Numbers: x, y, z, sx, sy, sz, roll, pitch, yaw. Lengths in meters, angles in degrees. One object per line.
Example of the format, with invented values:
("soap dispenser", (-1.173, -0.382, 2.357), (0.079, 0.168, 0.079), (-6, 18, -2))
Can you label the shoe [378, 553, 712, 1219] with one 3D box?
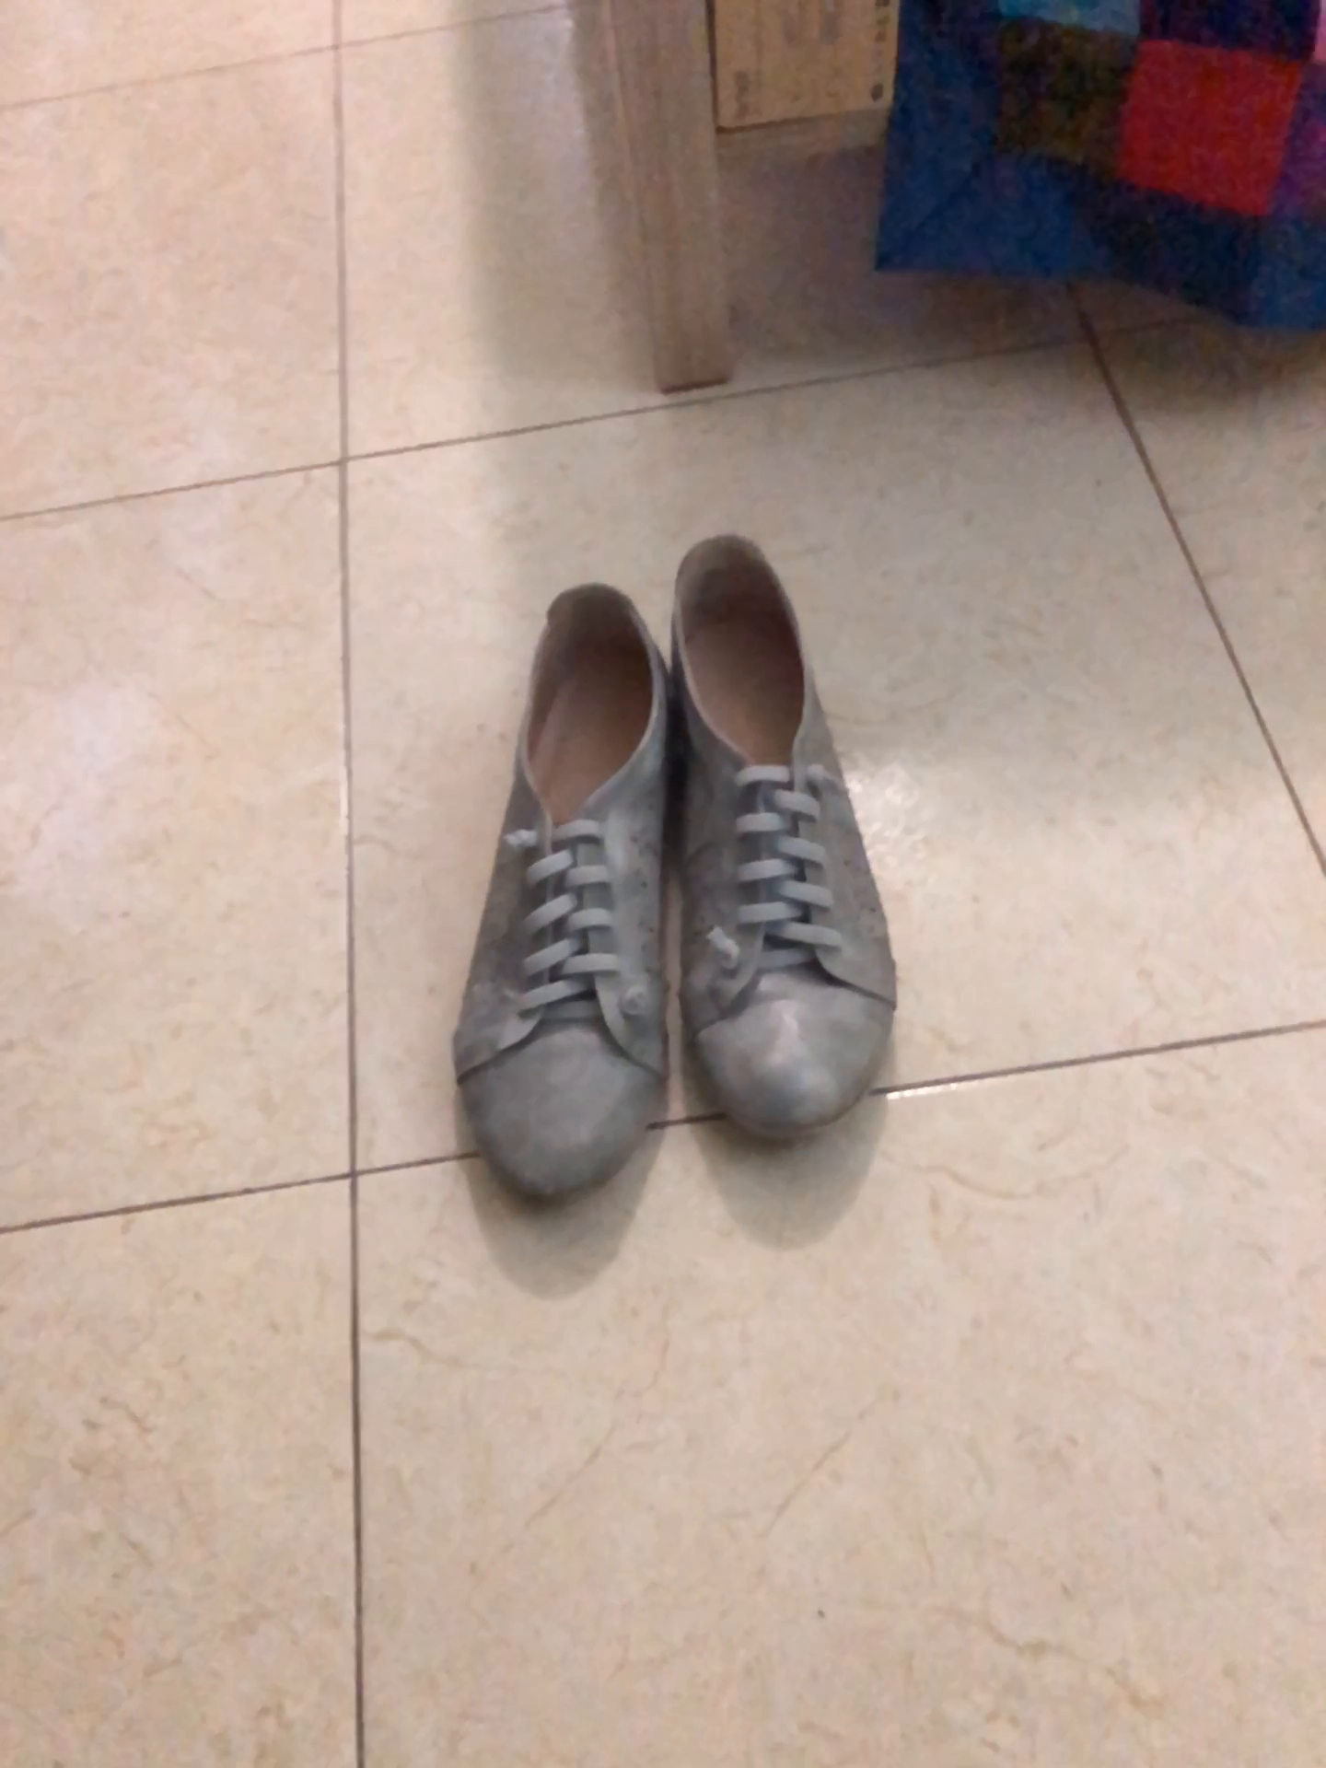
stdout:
("shoe", (-0.041, -0.008, 0.666), (0.100, 0.100, 0.291), (1, 58, 8))

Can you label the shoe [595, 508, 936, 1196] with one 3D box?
("shoe", (0.039, -0.023, 0.659), (0.100, 0.100, 0.291), (-9, 57, 2))
